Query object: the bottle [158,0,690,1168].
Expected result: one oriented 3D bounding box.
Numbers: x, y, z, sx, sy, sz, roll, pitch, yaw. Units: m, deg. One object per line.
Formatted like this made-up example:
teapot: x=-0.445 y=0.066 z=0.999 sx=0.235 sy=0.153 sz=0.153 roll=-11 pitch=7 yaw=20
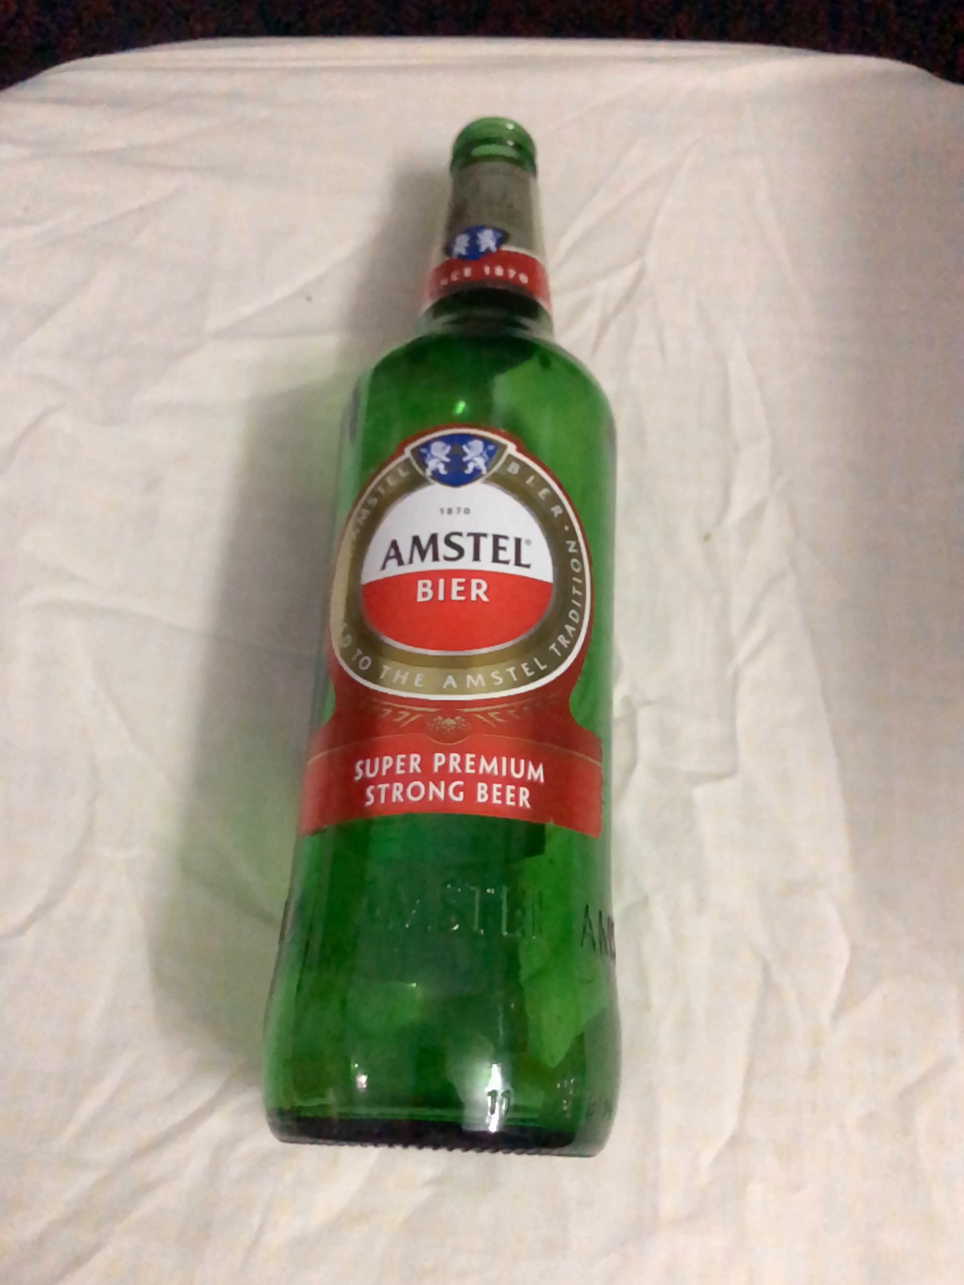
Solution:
bottle: x=0.000 y=-0.057 z=0.302 sx=0.090 sy=0.080 sz=0.361 roll=2 pitch=62 yaw=2
